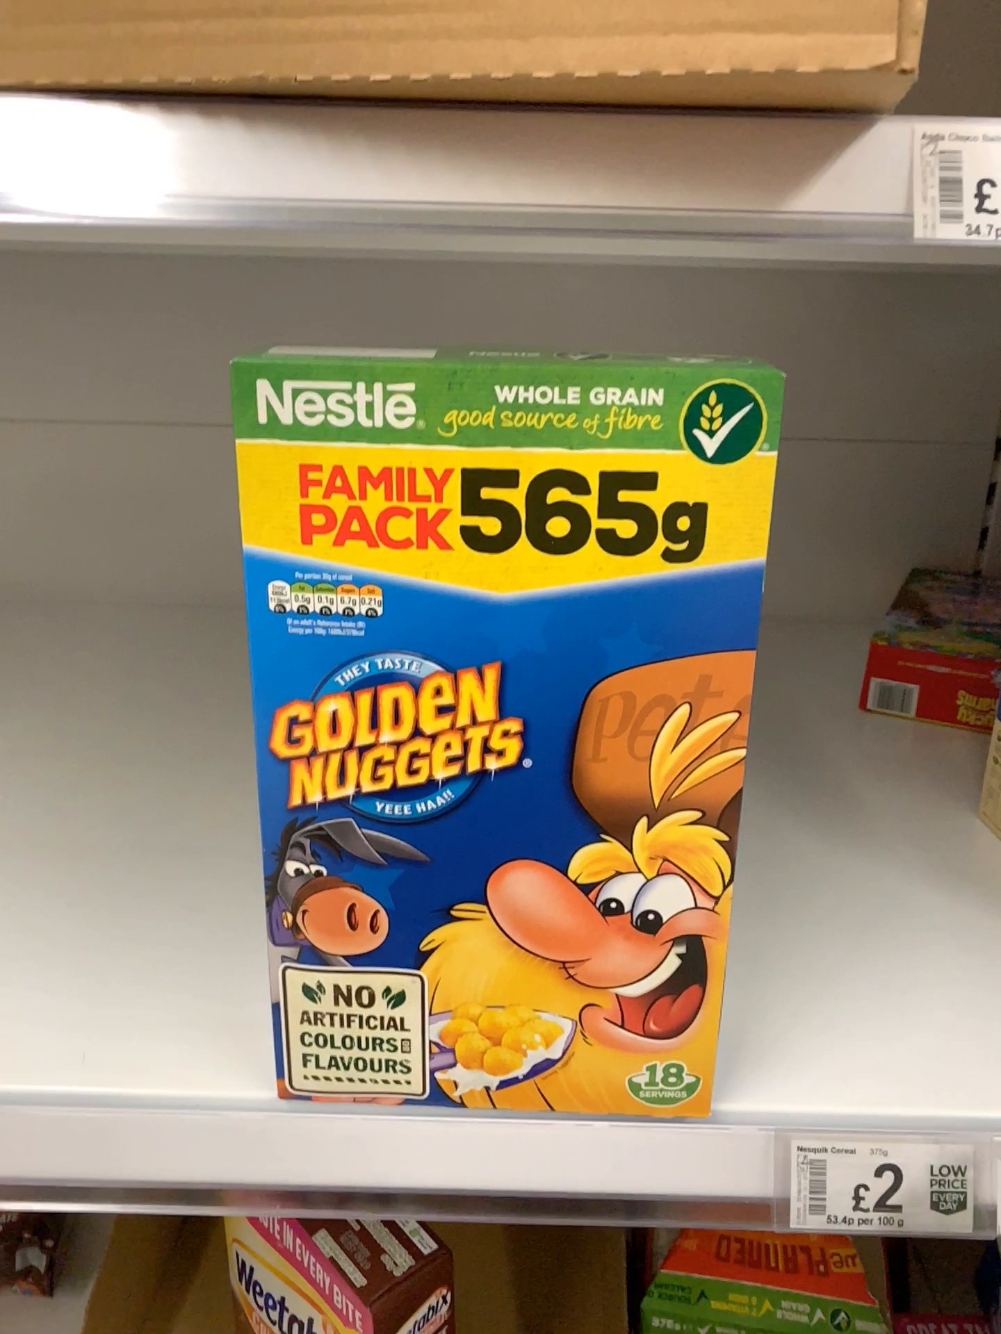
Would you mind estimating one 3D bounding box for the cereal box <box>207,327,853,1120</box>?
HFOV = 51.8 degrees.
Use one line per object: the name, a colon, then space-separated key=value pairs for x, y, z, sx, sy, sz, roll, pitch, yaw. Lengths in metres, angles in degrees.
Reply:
cereal box: x=0.007 y=0.025 z=0.428 sx=0.210 sy=0.308 sz=0.091 roll=2 pitch=19 yaw=2
